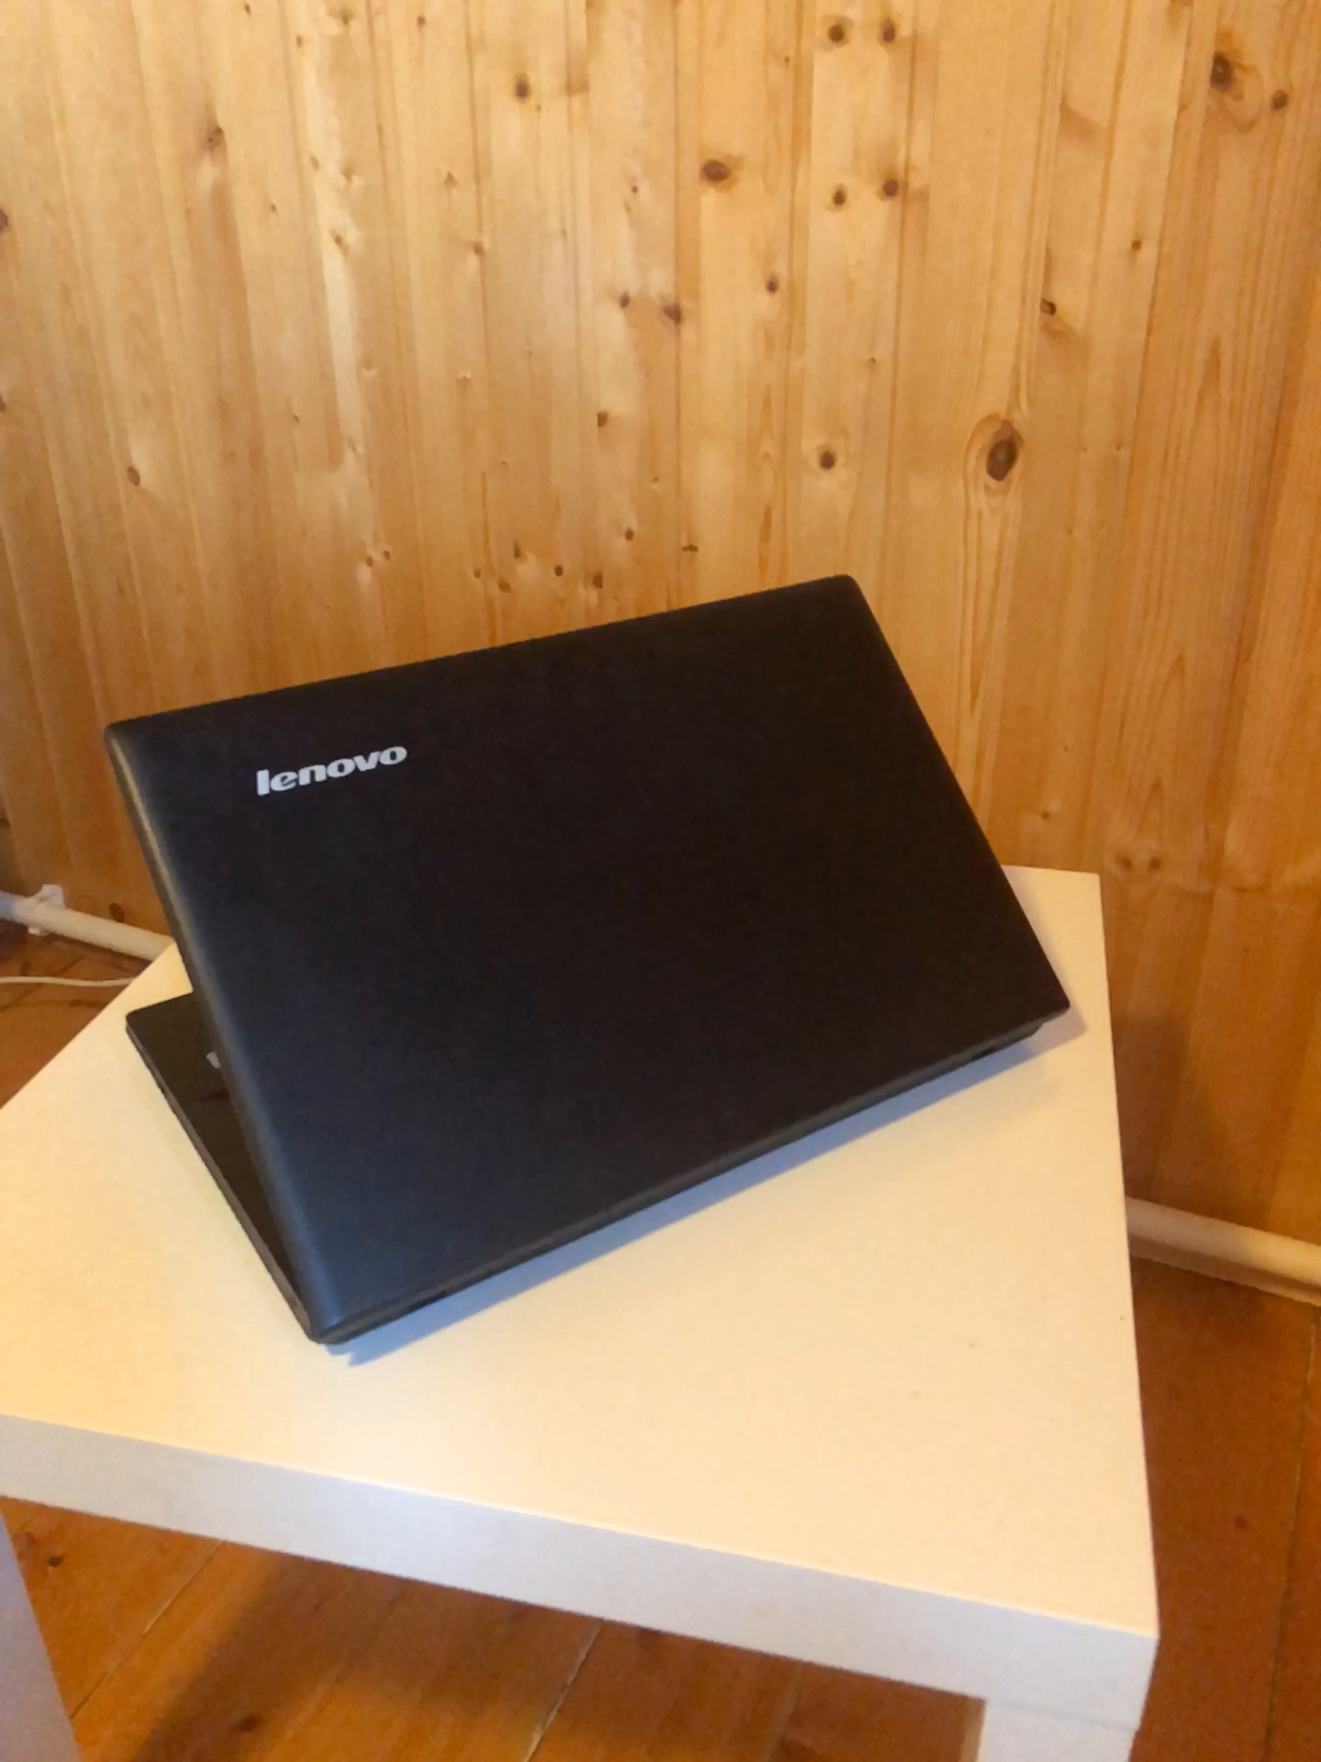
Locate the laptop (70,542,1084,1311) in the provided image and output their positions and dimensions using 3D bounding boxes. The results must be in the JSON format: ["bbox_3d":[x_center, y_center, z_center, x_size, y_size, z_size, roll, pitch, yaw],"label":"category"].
[{"bbox_3d":[-0.041,-0.018,0.706,0.389,0.179,0.261,-18,31,-28],"label":"laptop"}]
